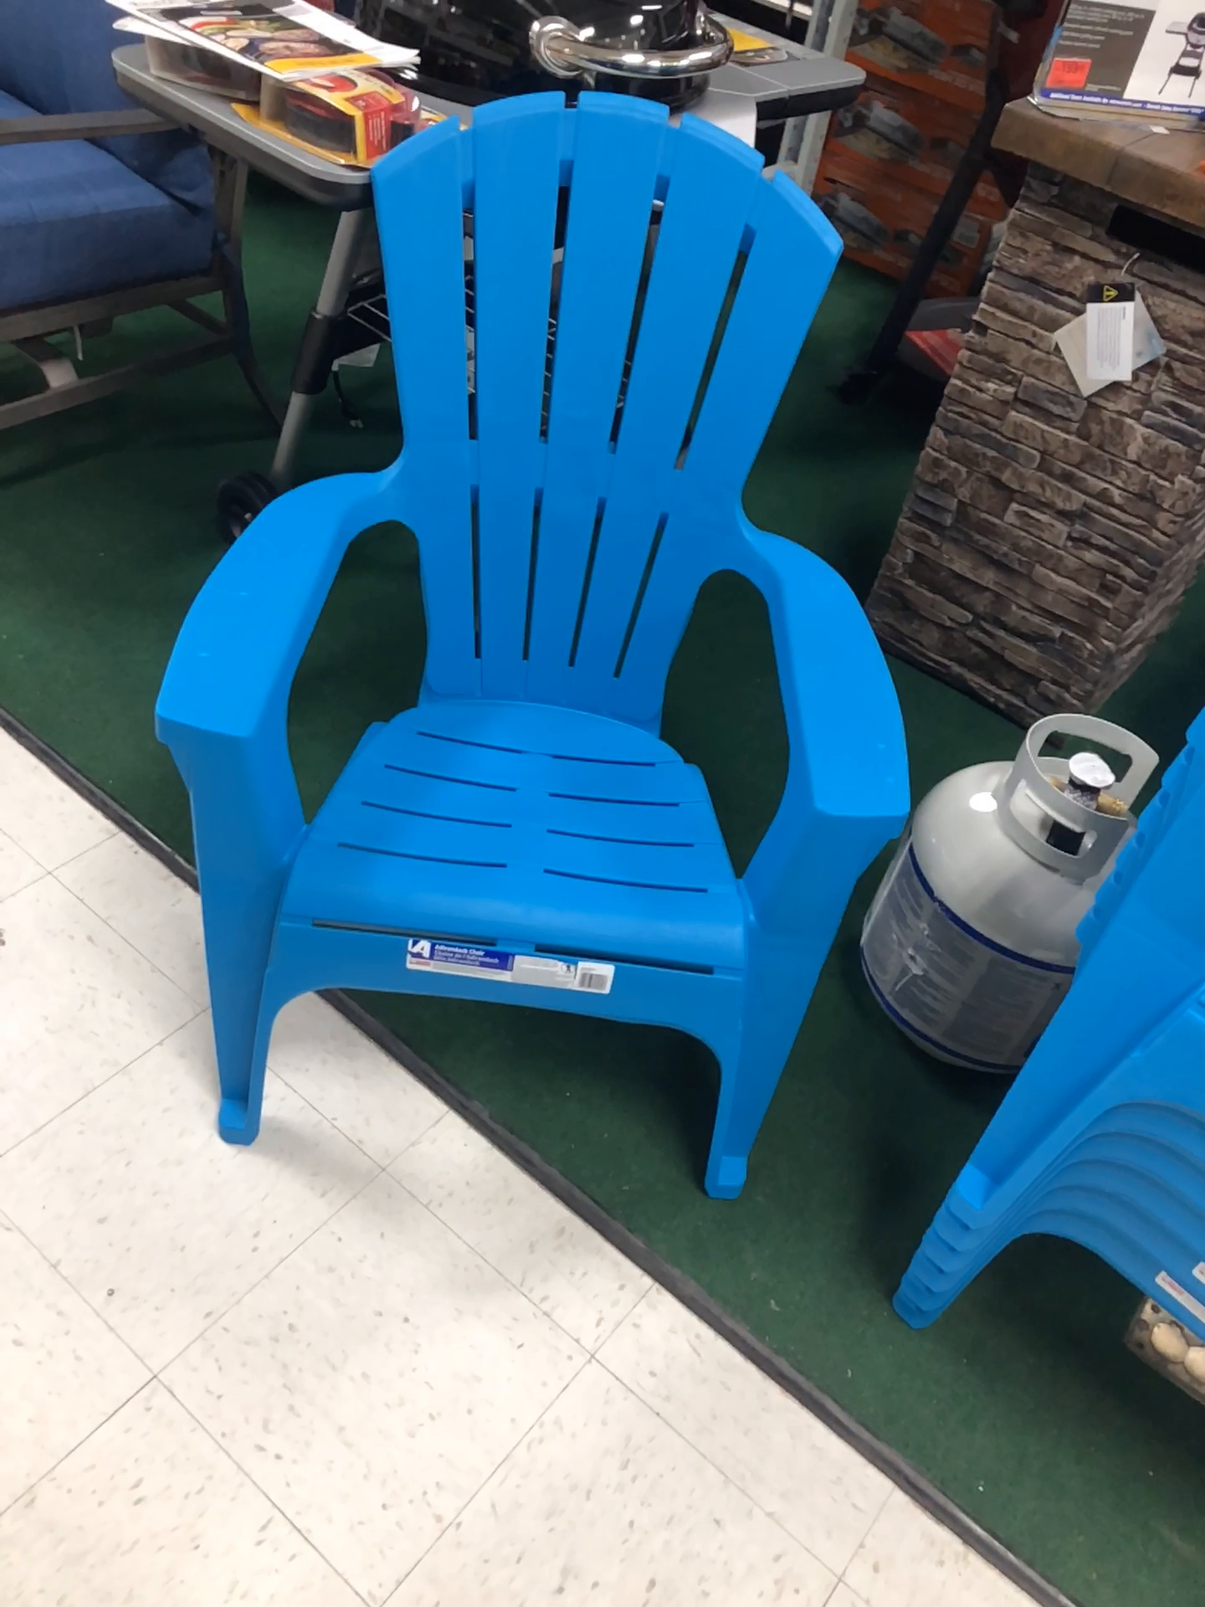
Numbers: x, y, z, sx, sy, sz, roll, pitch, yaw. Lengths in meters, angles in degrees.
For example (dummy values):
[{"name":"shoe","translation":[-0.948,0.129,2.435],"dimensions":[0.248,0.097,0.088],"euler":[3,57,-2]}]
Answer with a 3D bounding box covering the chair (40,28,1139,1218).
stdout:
[{"name":"chair","translation":[-0.050,-0.134,1.367],"dimensions":[0.681,0.932,0.650],"euler":[8,44,-4]}]
